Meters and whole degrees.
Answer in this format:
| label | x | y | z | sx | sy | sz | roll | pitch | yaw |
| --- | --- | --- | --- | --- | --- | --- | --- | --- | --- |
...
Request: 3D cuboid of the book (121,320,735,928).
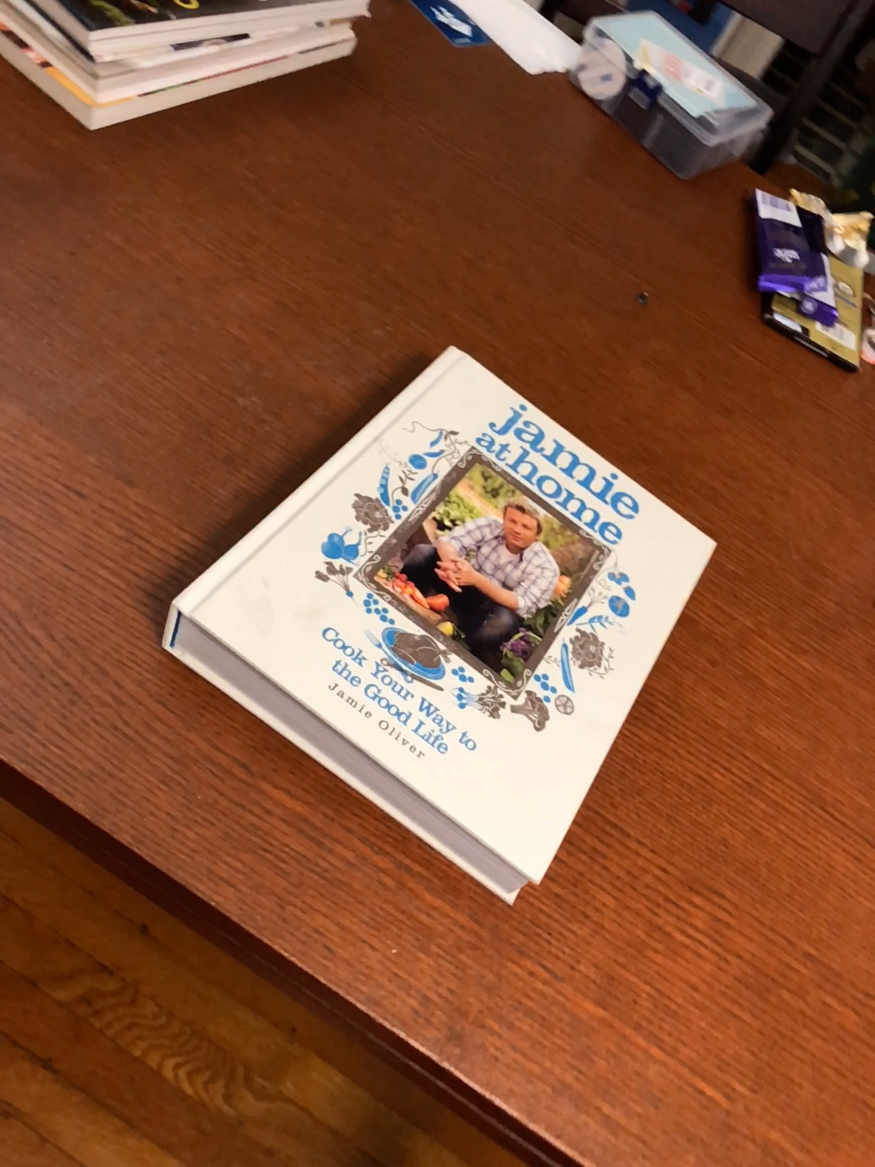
| label | x | y | z | sx | sy | sz | roll | pitch | yaw |
| --- | --- | --- | --- | --- | --- | --- | --- | --- | --- |
| book | 0.016 | -0.004 | 0.486 | 0.210 | 0.040 | 0.261 | 37 | 49 | 3 |
